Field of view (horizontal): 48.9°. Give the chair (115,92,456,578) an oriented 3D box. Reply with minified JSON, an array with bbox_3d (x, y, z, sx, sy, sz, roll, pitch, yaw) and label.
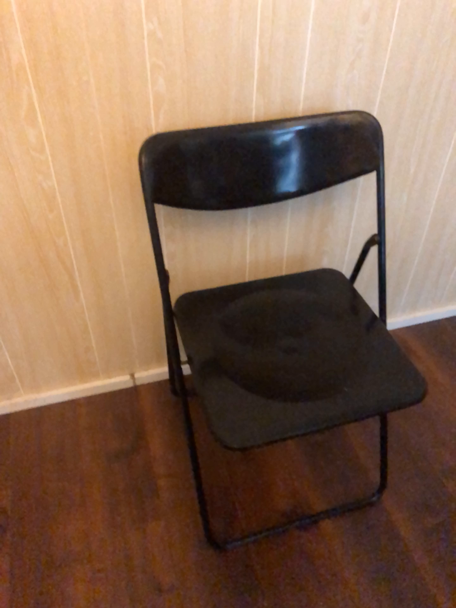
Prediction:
[{"bbox_3d":[0.115,0.060,0.917,0.490,0.665,0.473,-11,44,-13],"label":"chair"}]
